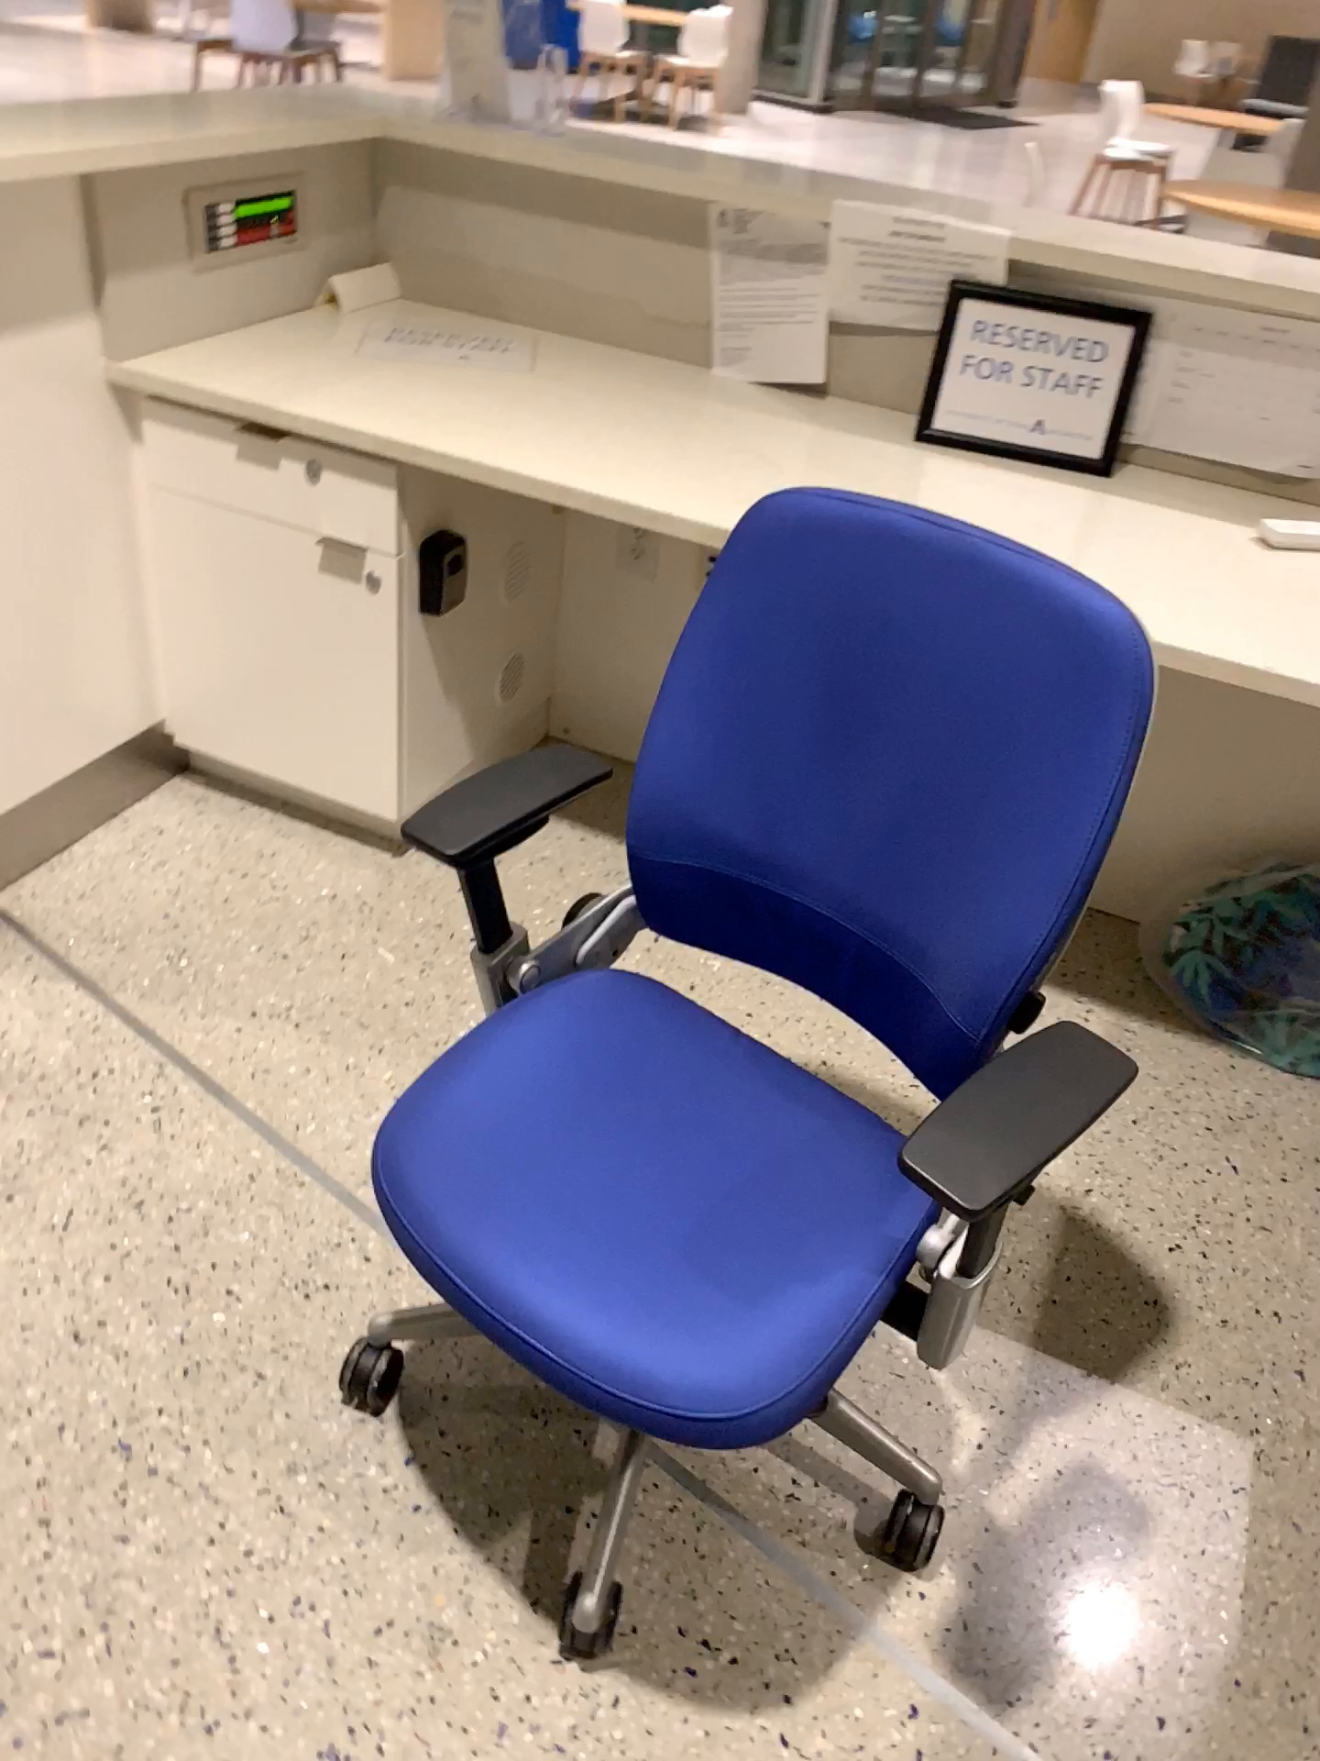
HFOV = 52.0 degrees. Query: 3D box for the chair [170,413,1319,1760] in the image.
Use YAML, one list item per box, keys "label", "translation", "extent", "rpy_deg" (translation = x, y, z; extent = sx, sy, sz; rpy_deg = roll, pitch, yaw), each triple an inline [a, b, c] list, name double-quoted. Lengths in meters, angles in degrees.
- label: "chair"
  translation: [0.058, 0.168, 1.251]
  extent: [0.700, 0.906, 0.607]
  rpy_deg: [31, 41, 30]
